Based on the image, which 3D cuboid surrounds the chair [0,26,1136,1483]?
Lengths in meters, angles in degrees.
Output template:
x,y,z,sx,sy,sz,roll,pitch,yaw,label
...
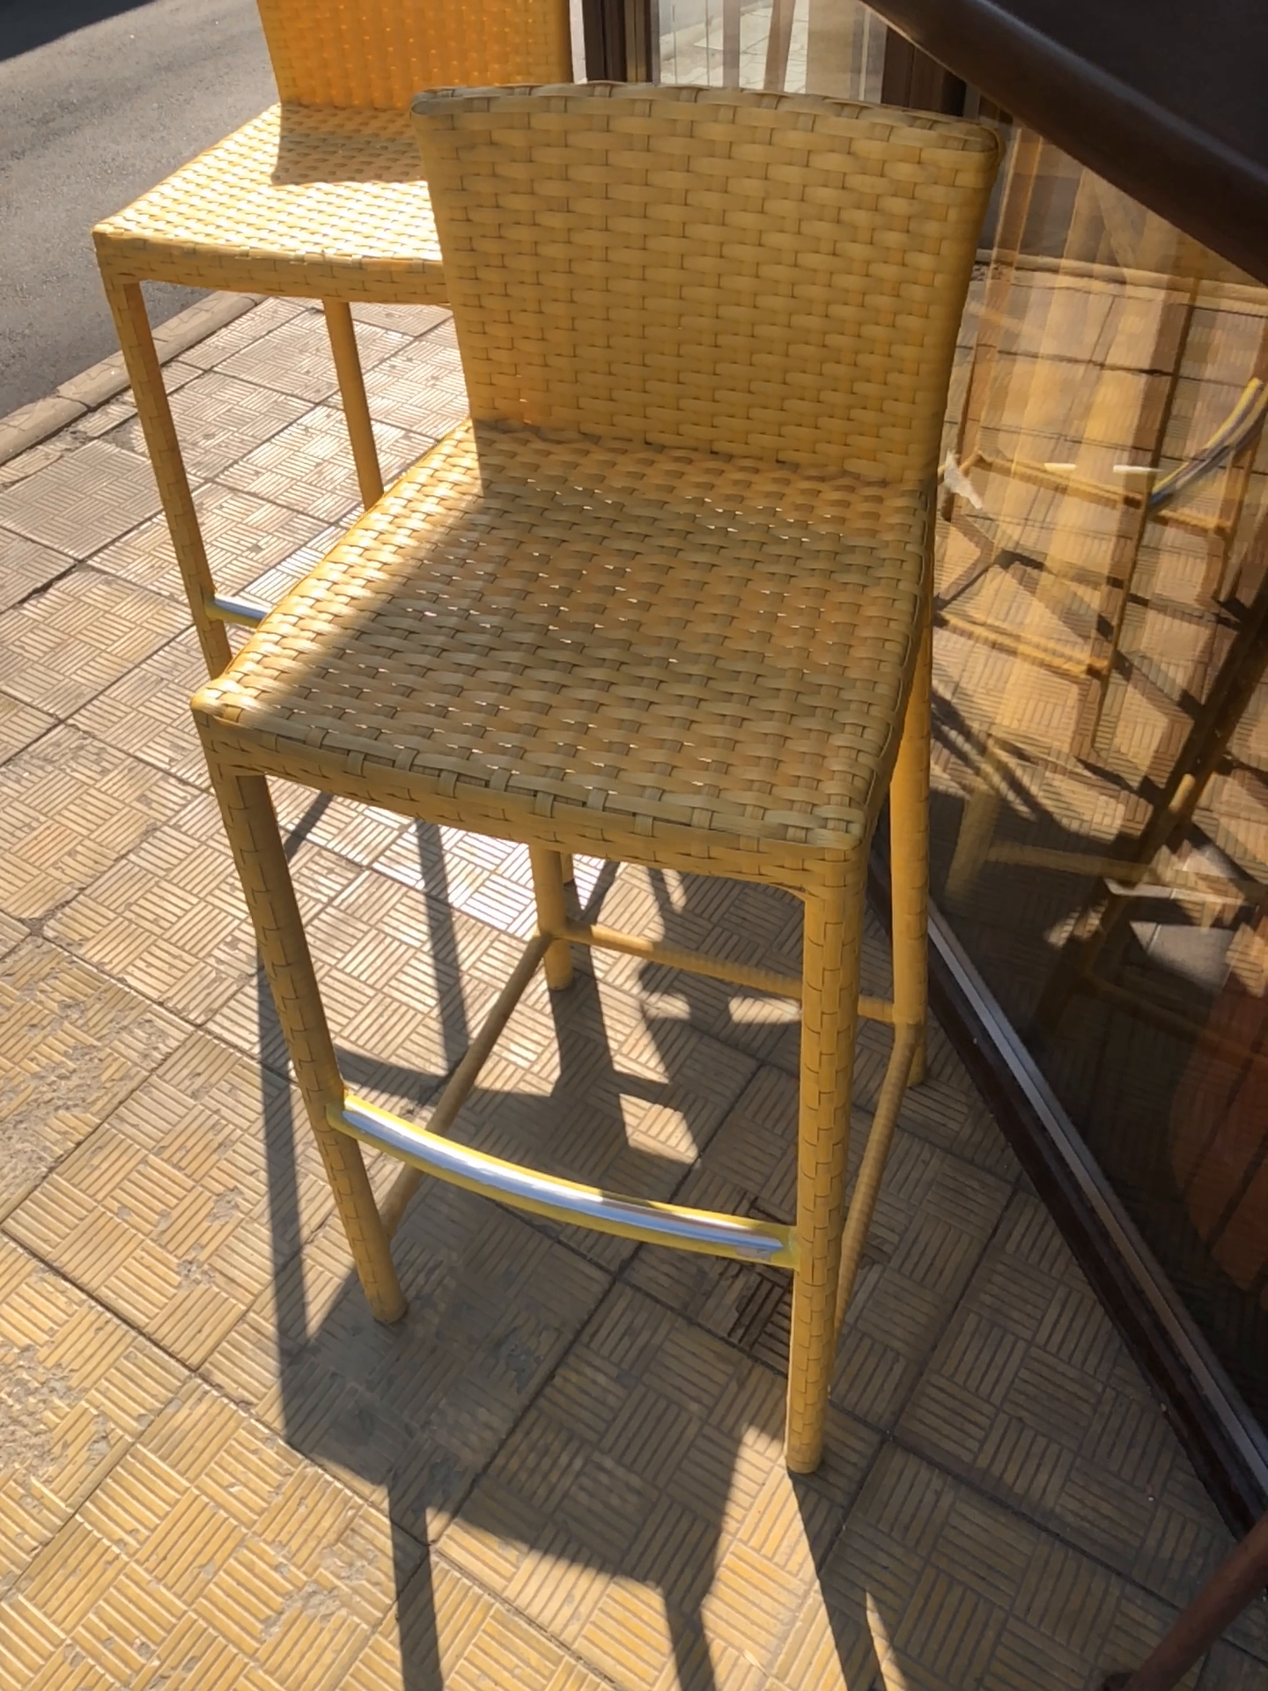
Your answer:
x,y,z,sx,sy,sz,roll,pitch,yaw,label
-0.001,-0.015,1.065,0.480,0.916,0.522,14,49,15,chair
